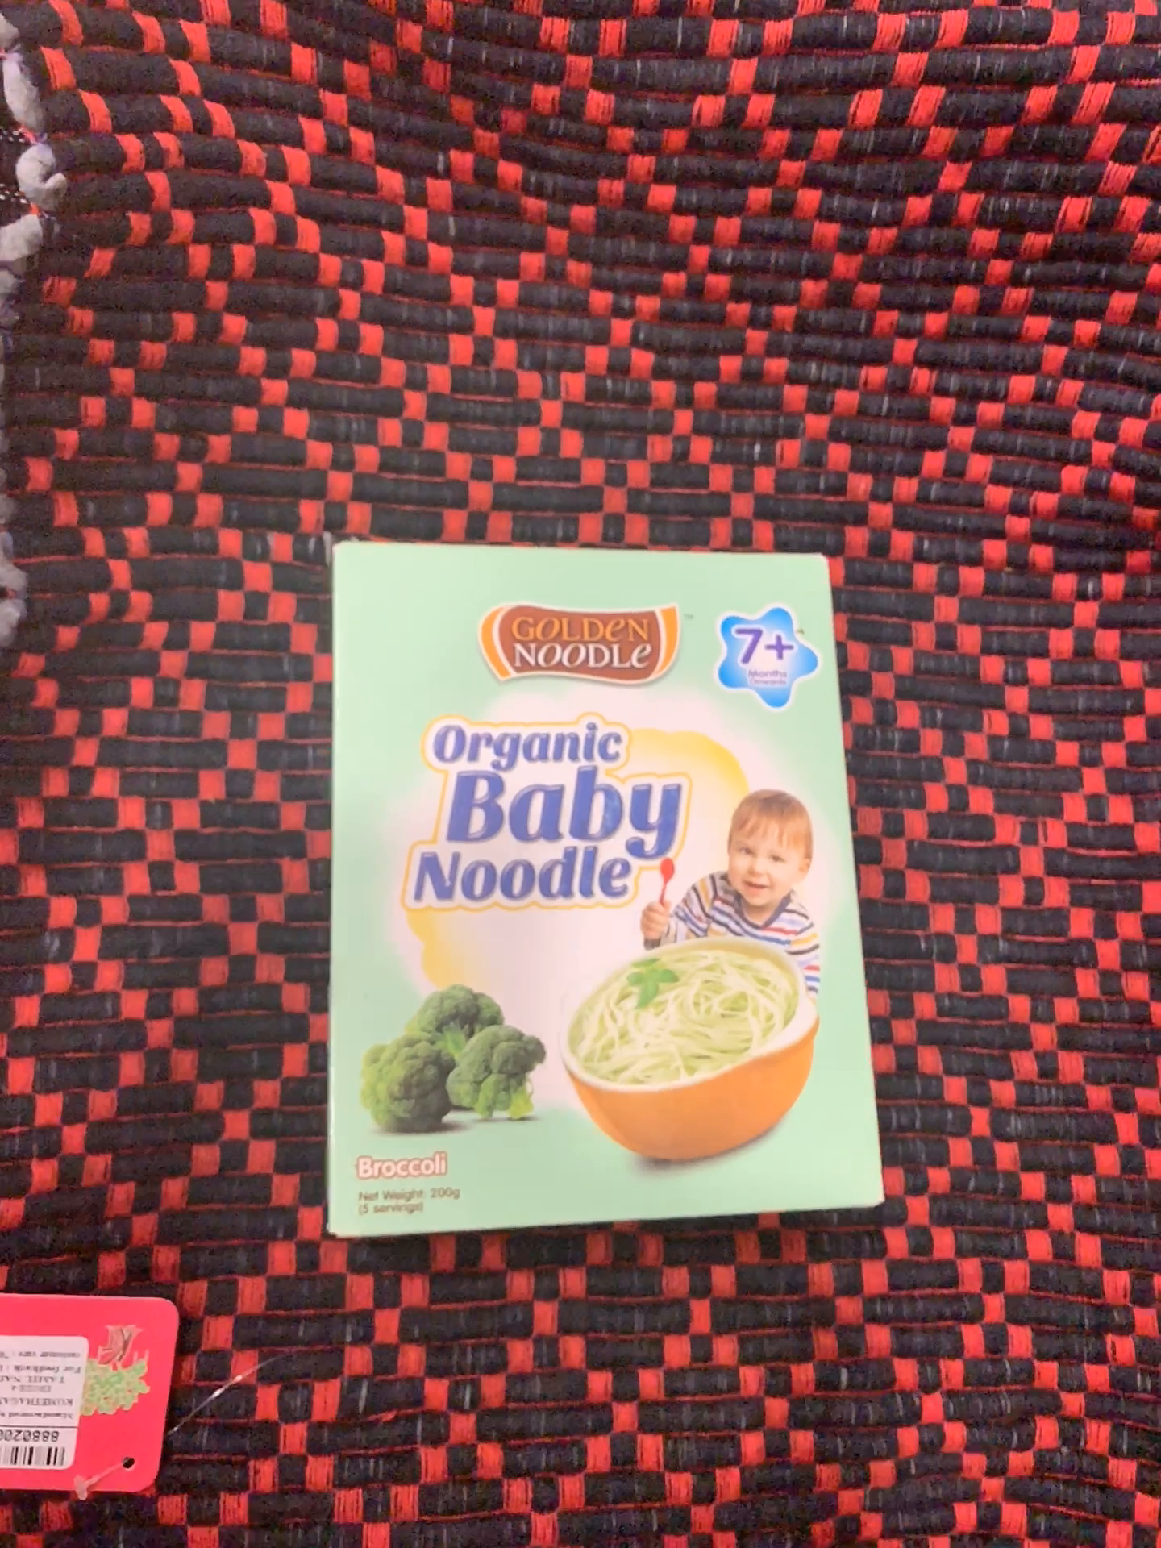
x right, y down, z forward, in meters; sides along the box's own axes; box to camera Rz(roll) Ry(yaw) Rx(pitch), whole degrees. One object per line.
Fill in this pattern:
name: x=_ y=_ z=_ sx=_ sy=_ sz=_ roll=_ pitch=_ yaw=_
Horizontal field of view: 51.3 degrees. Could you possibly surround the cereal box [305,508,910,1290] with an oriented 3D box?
cereal box: x=0.000 y=0.028 z=0.302 sx=0.130 sy=0.060 sz=0.170 roll=0 pitch=78 yaw=-9
